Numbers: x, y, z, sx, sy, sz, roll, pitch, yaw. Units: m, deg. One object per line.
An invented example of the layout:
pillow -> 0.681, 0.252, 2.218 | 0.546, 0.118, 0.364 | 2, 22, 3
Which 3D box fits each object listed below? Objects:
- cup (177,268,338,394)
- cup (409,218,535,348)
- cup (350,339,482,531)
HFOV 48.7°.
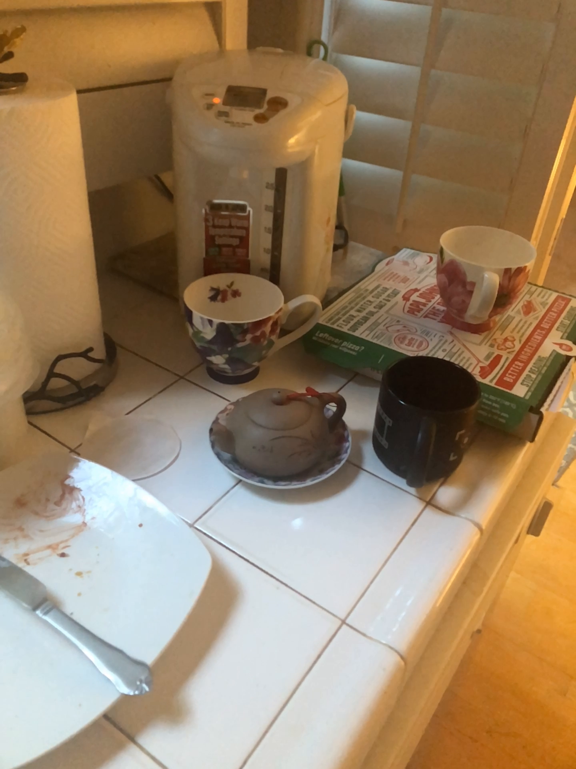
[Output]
cup -> -0.040, -0.064, 0.717 | 0.160, 0.089, 0.111 | -4, 37, -11
cup -> 0.213, -0.121, 0.729 | 0.110, 0.069, 0.151 | 15, 37, 13
cup -> 0.125, 0.043, 0.609 | 0.090, 0.099, 0.141 | 13, 37, 12
